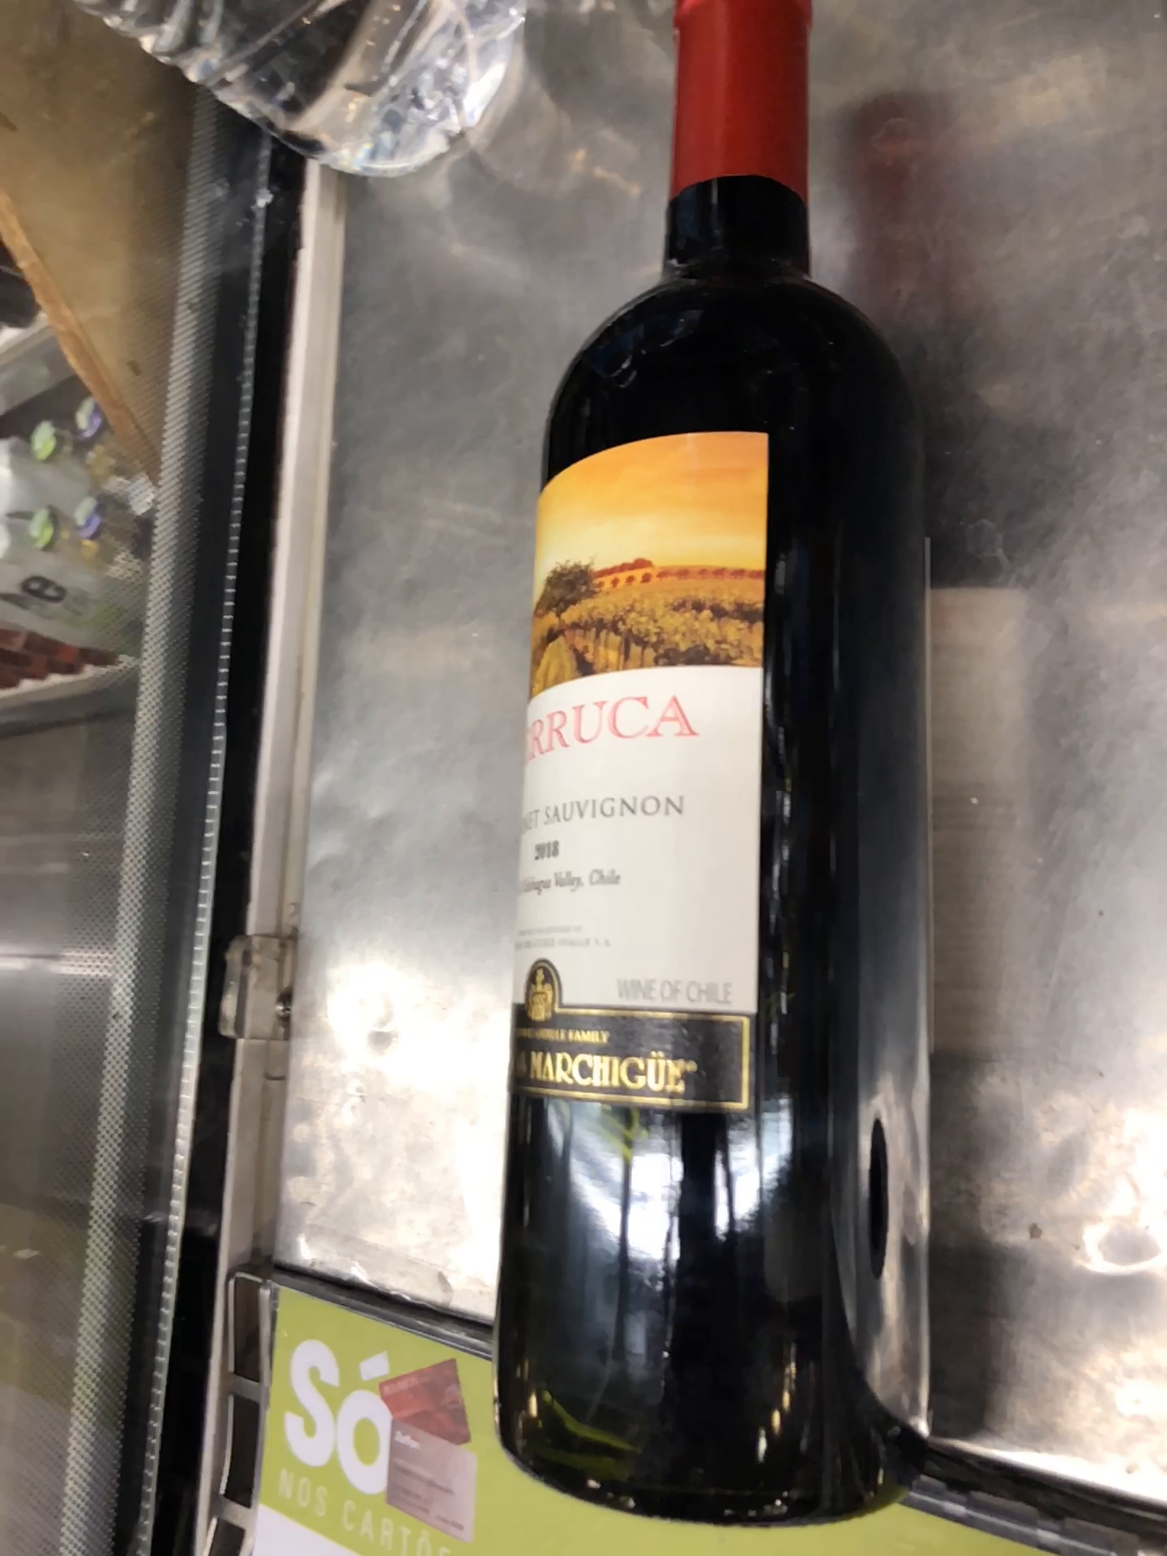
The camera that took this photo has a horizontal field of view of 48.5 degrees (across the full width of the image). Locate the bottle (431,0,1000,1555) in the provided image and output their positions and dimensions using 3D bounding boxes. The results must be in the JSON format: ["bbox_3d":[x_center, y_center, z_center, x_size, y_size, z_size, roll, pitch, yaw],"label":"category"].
[{"bbox_3d":[0.024,-0.038,0.240,0.080,0.050,0.310,-7,78,40],"label":"bottle"}]
